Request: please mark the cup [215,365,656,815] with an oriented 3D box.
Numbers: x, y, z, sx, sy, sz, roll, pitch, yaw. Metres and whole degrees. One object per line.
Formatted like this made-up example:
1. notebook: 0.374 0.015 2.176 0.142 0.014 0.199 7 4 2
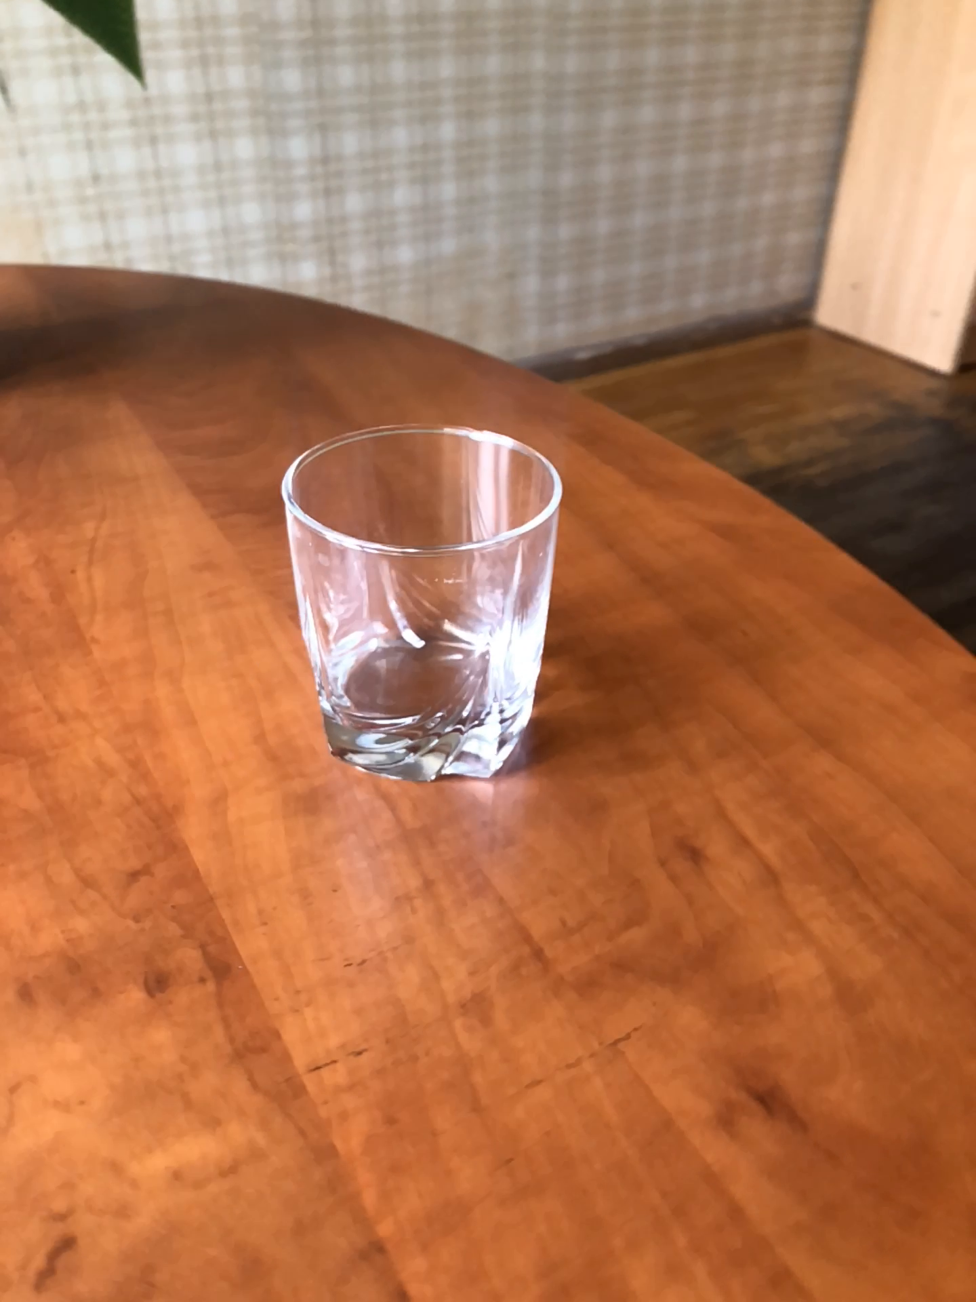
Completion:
1. cup: -0.015 -0.025 0.343 0.089 0.086 0.095 1 34 -1
